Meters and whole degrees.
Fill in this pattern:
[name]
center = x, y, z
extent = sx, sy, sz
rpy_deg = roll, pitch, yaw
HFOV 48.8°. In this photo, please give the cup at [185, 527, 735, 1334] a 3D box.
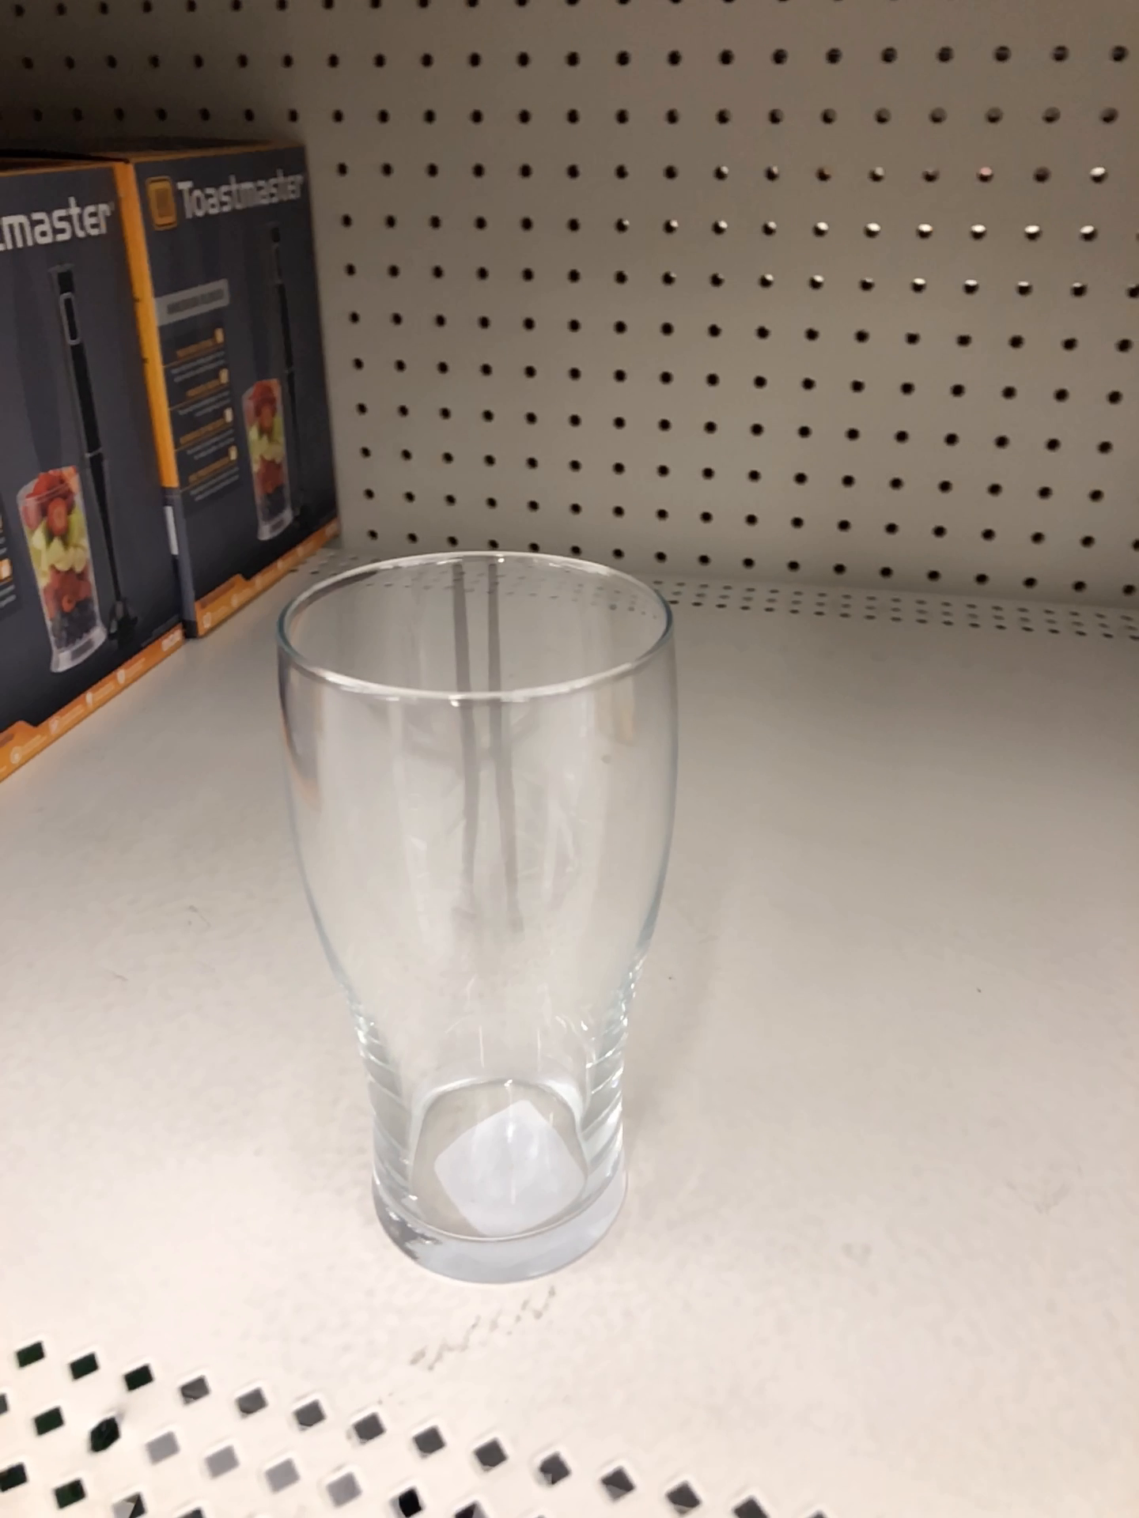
[cup]
center = -0.016, 0.033, 0.274
extent = 0.076, 0.138, 0.081
rpy_deg = -1, 27, 0
